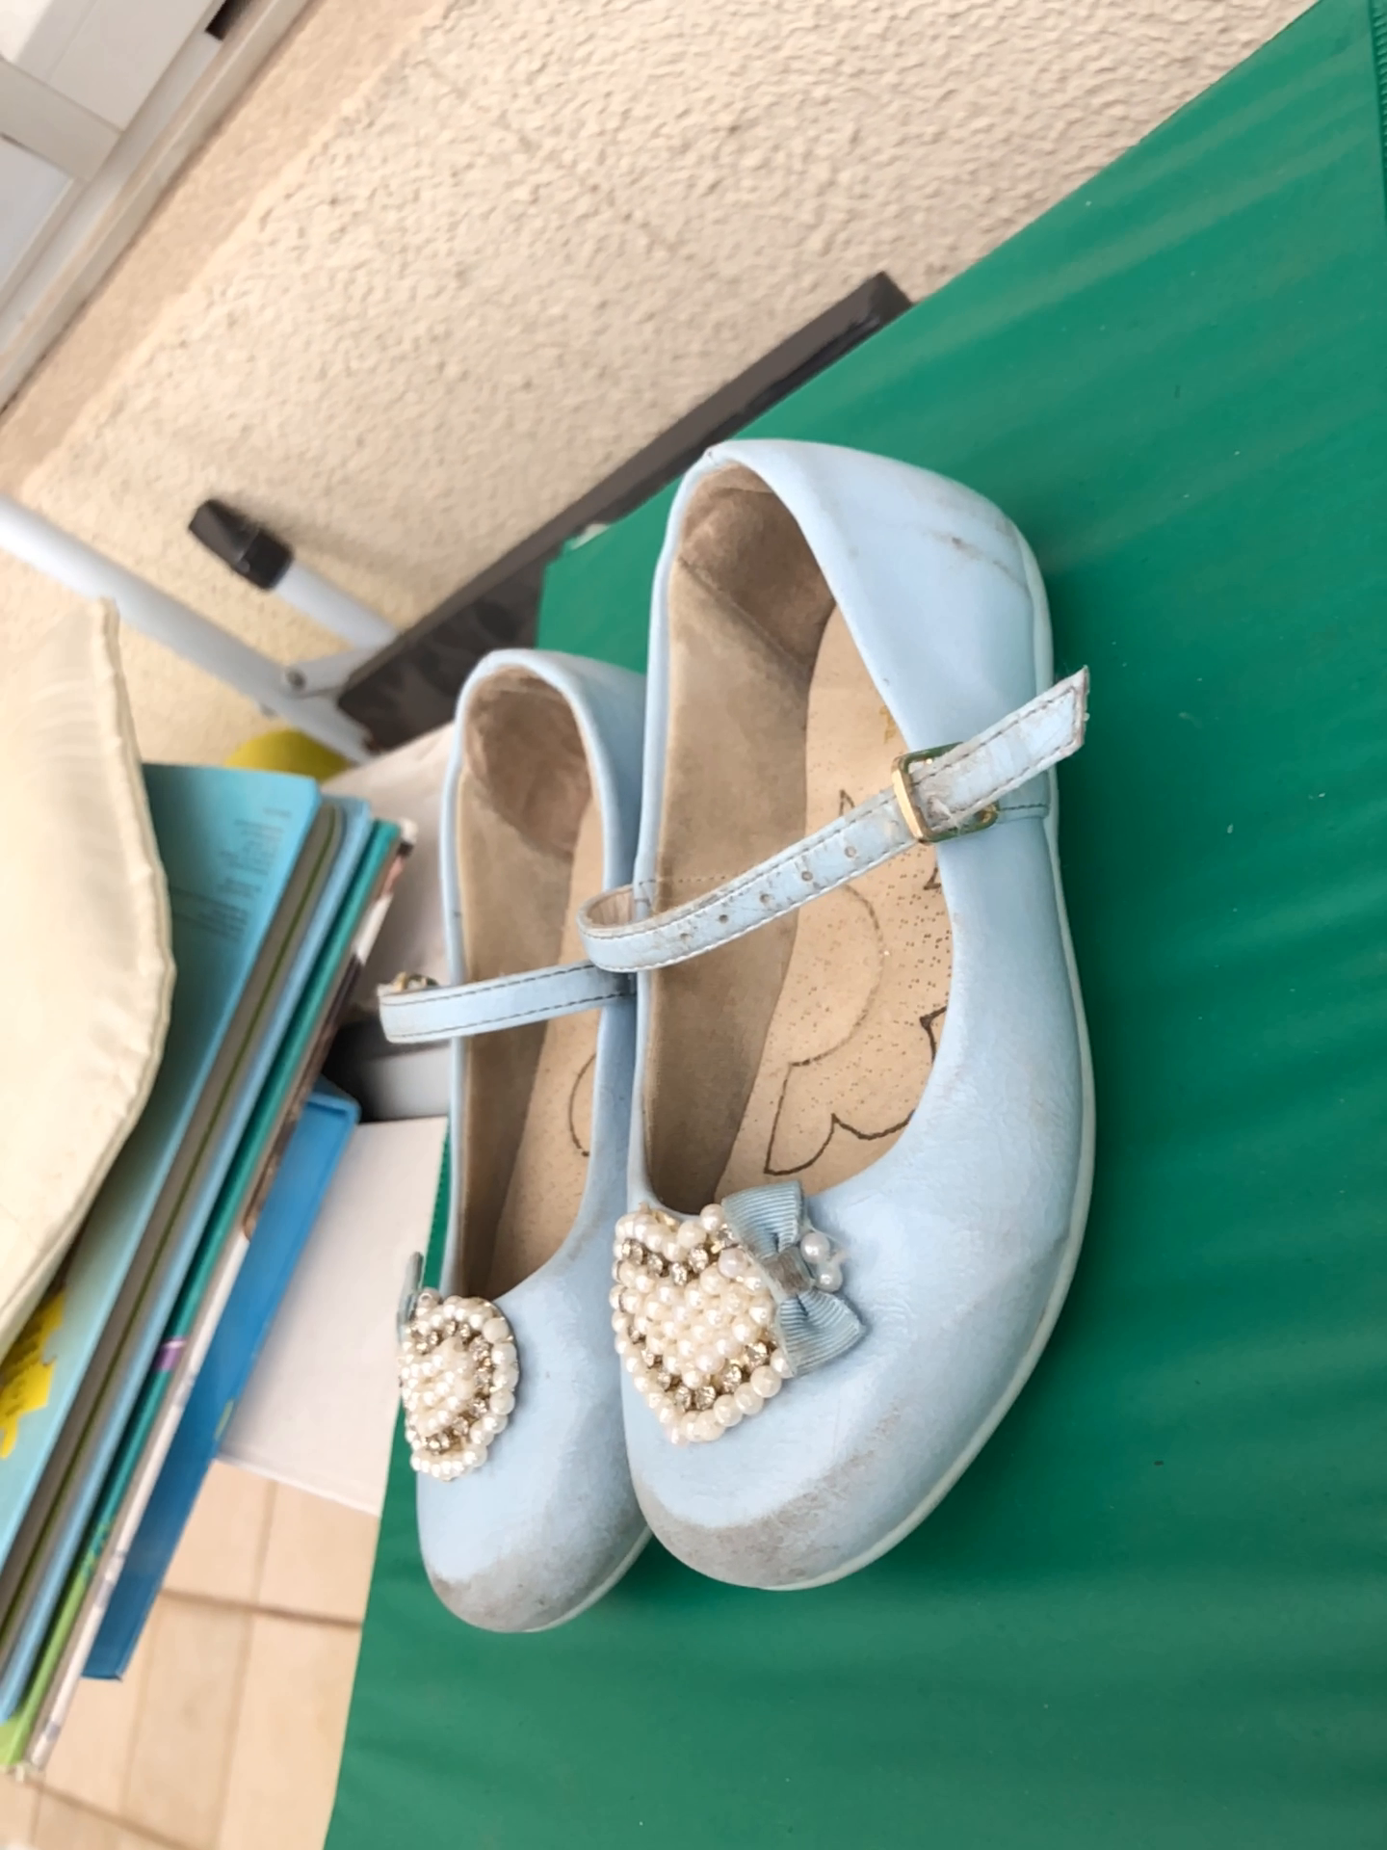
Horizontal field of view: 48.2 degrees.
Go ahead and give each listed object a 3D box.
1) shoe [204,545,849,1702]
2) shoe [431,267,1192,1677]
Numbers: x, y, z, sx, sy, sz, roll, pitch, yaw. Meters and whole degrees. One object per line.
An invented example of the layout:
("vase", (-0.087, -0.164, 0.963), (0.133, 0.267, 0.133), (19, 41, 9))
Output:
("shoe", (-0.026, 0.034, 0.268), (0.087, 0.050, 0.170), (-19, 58, 46))
("shoe", (0.018, 0.007, 0.220), (0.080, 0.050, 0.170), (-19, 58, 46))
